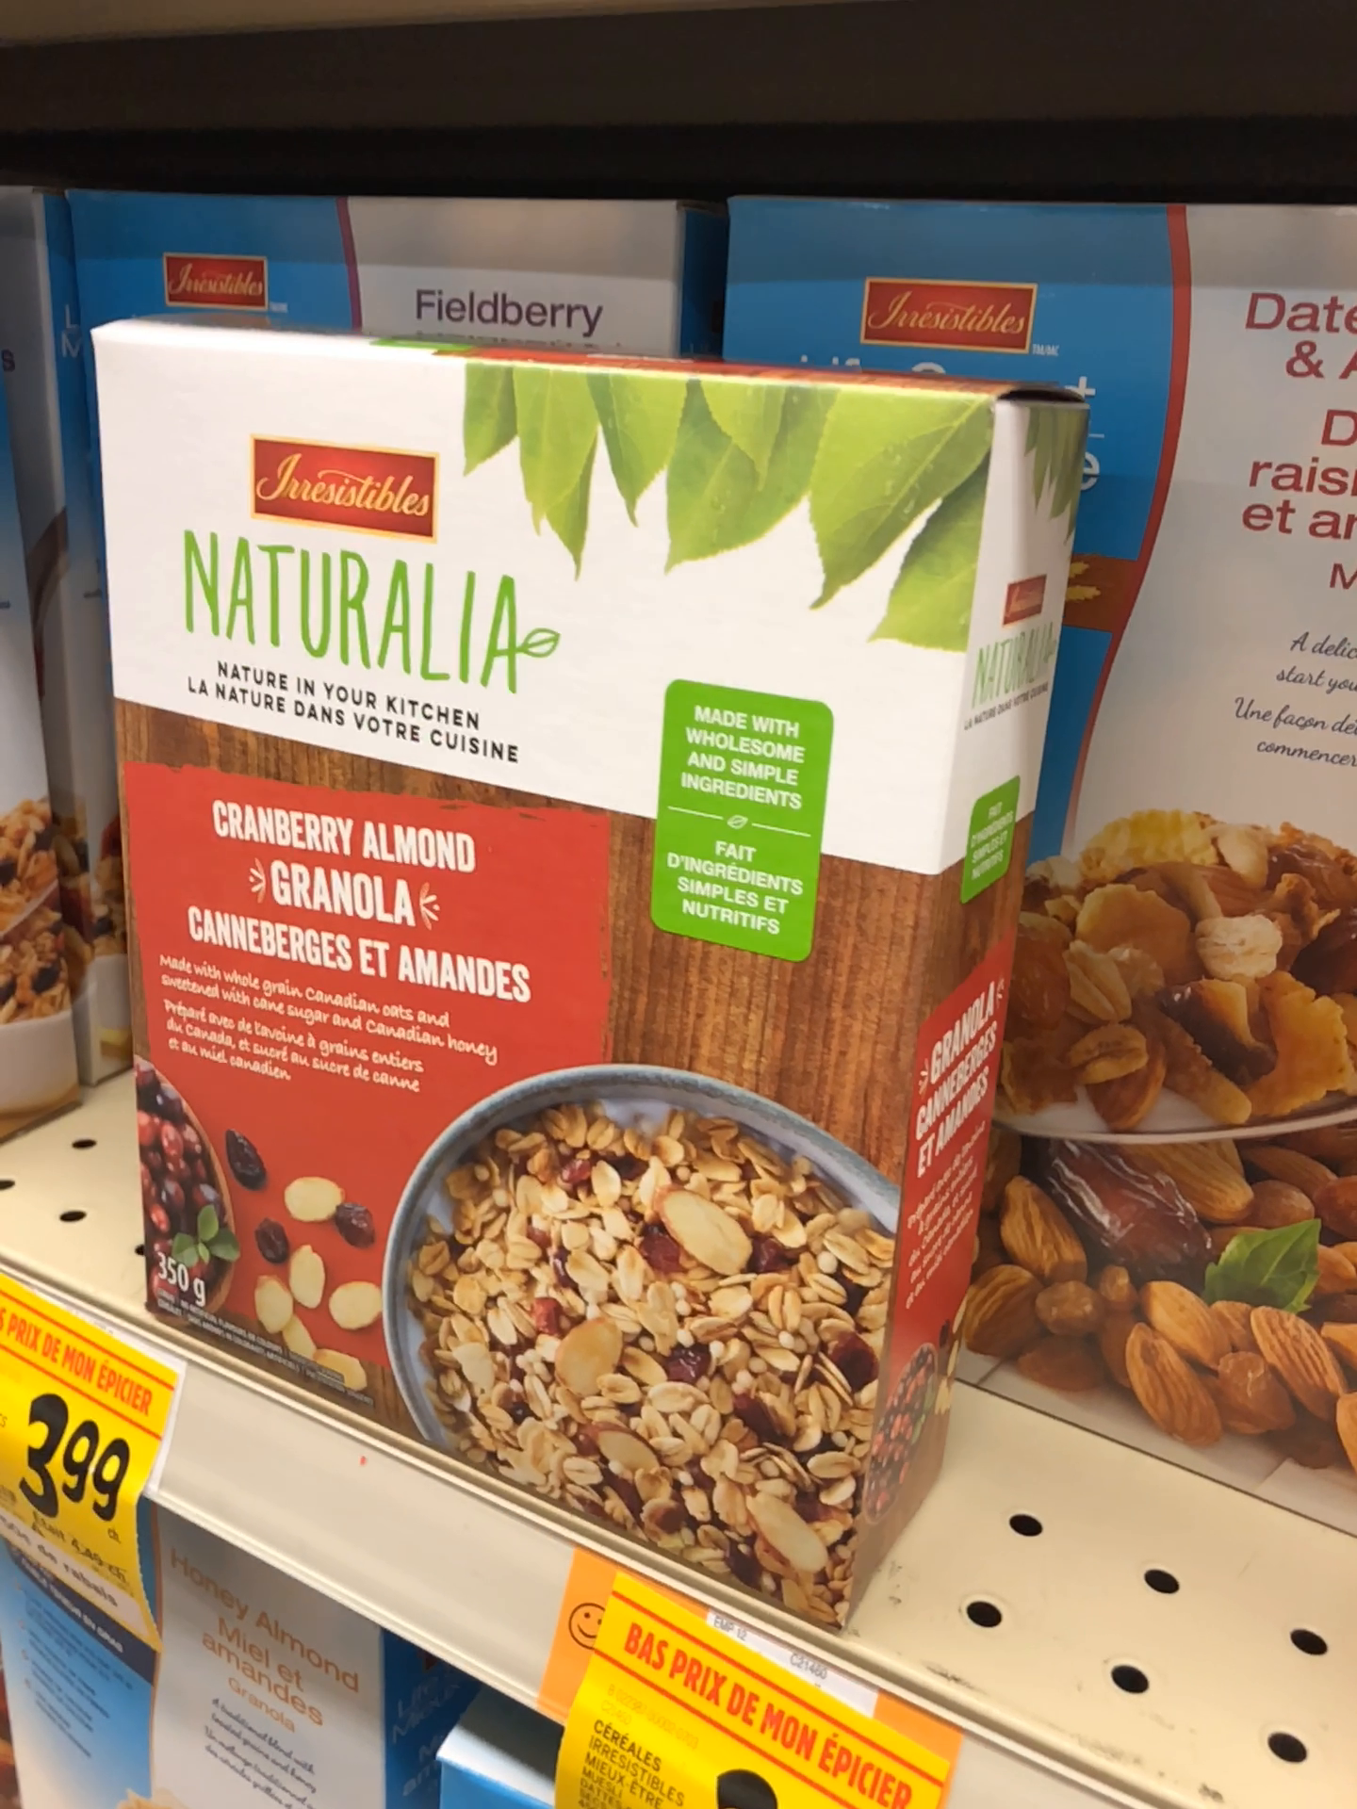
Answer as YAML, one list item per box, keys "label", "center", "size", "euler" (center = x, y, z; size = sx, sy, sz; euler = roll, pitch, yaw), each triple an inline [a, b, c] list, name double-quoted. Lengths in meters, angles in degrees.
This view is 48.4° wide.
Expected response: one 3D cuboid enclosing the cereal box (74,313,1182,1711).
- label: "cereal box"
  center: [-0.018, 0.008, 0.277]
  size: [0.170, 0.209, 0.060]
  euler: [14, 23, 27]
